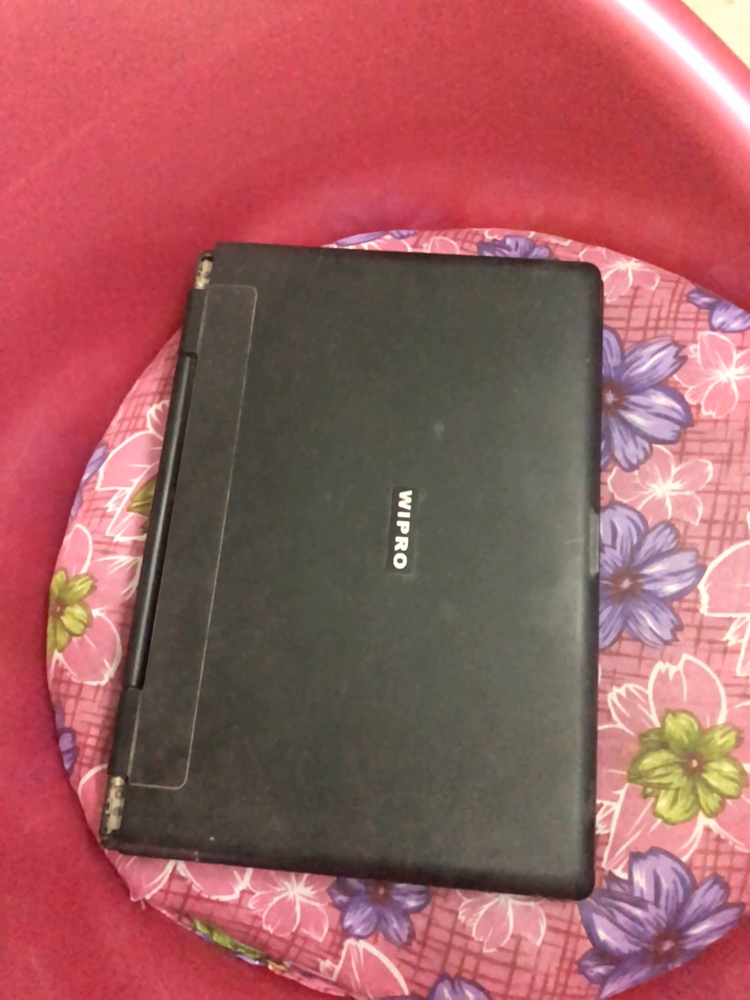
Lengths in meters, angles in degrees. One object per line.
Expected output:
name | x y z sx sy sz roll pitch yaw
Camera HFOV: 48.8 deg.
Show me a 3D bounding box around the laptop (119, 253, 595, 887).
laptop | 0.001 0.017 0.438 0.220 0.006 0.322 4 74 5
